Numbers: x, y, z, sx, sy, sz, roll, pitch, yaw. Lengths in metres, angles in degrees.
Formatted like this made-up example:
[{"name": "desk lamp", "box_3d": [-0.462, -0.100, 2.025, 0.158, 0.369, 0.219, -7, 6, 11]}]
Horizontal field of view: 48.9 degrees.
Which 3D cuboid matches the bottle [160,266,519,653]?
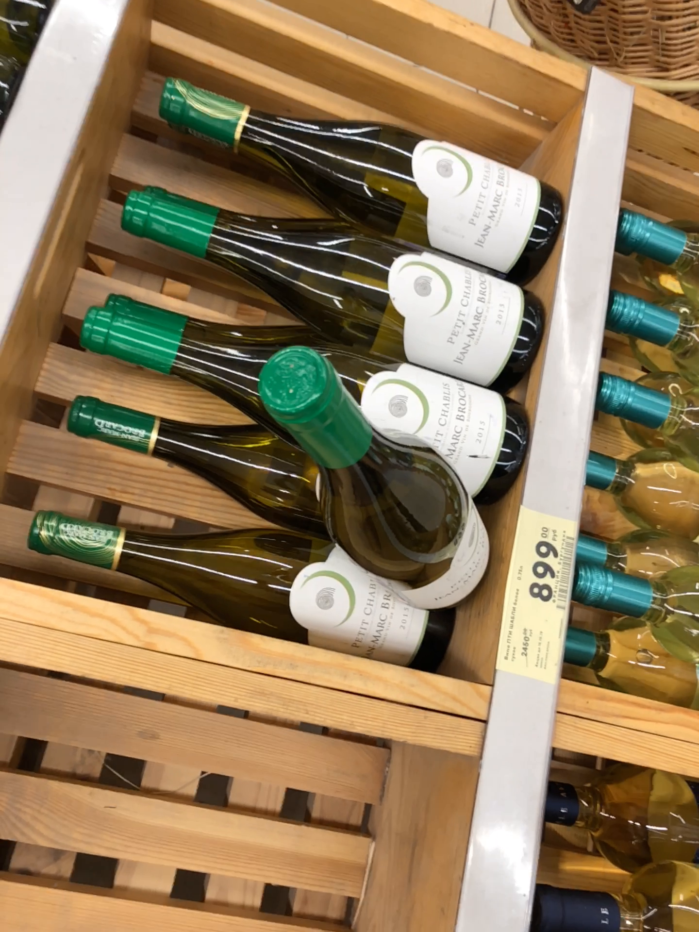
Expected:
[{"name": "bottle", "box_3d": [0.025, 0.023, 0.394, 0.090, 0.289, 0.090, -5, 69, 14]}]
